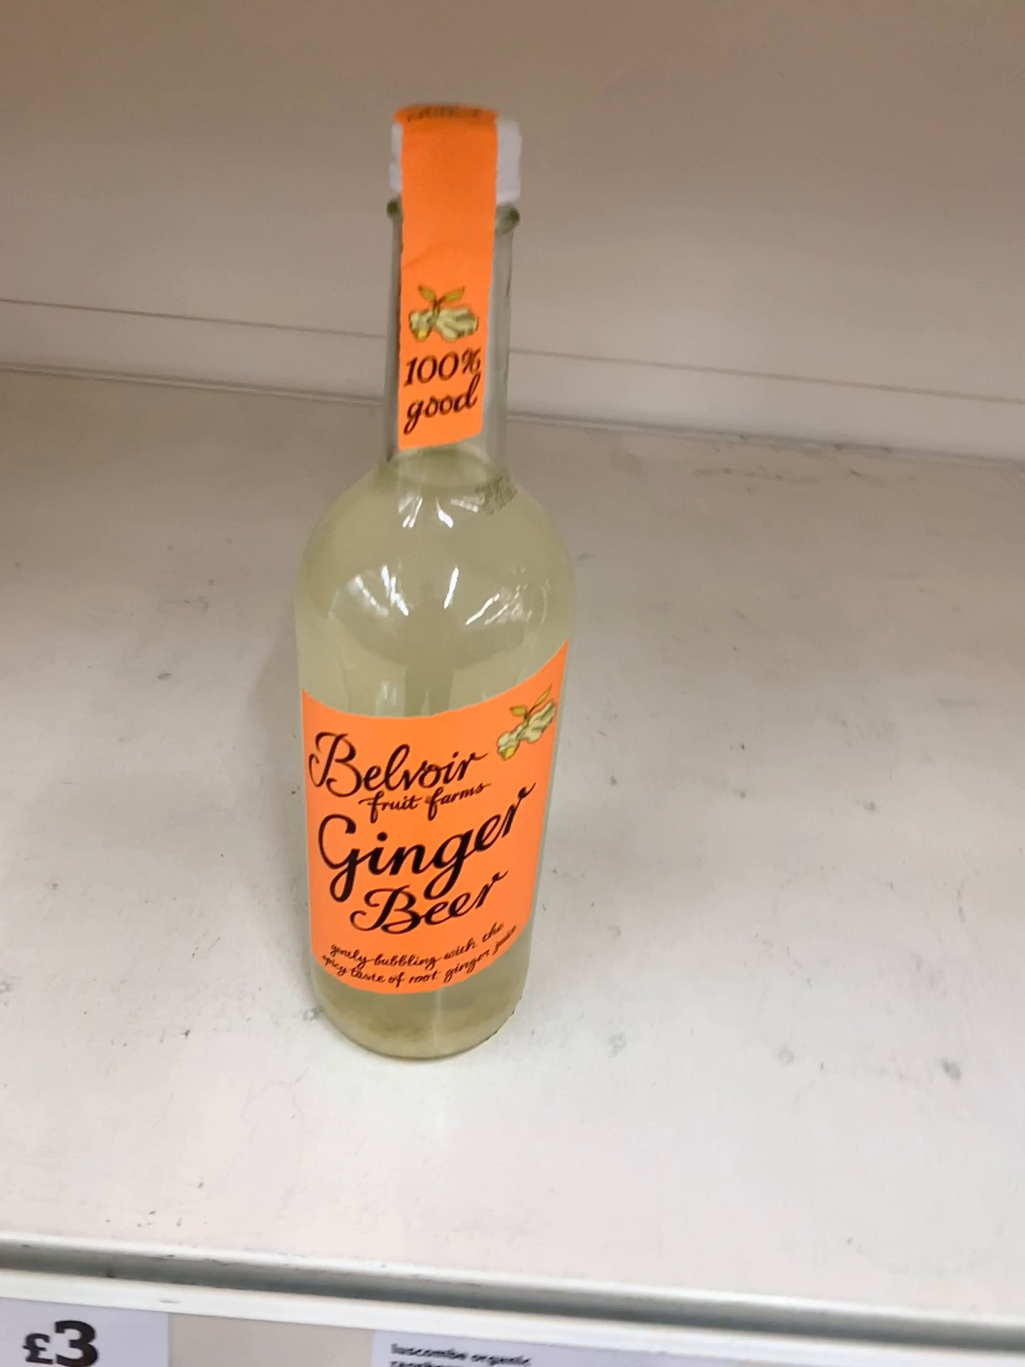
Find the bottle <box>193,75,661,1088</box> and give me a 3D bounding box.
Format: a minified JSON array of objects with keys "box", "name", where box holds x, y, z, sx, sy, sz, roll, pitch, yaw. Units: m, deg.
[{"box":[-0.022,-0.011,0.310,0.084,0.277,0.091,4,35,-3],"name":"bottle"}]
